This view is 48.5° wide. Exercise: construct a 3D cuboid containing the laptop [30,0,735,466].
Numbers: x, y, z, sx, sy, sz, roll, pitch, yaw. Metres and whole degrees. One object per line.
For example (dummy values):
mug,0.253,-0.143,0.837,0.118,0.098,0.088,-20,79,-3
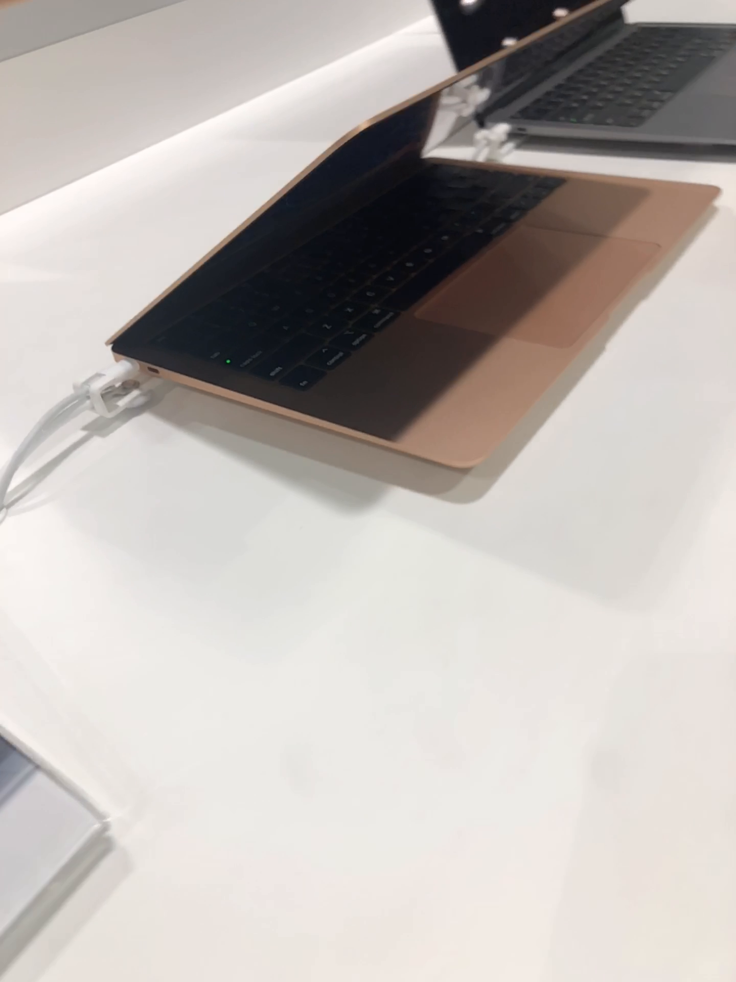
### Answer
laptop,0.033,-0.164,0.407,0.200,0.106,0.296,19,46,30
